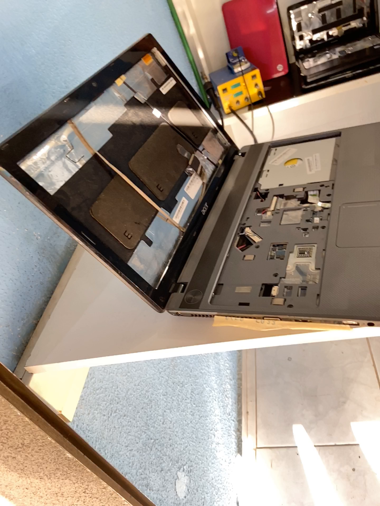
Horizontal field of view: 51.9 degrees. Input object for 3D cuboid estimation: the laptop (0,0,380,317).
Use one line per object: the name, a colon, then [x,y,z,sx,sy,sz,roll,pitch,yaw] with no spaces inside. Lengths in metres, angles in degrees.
laptop: [0.057,-0.146,0.474,0.349,0.210,0.380,-3,41,29]
